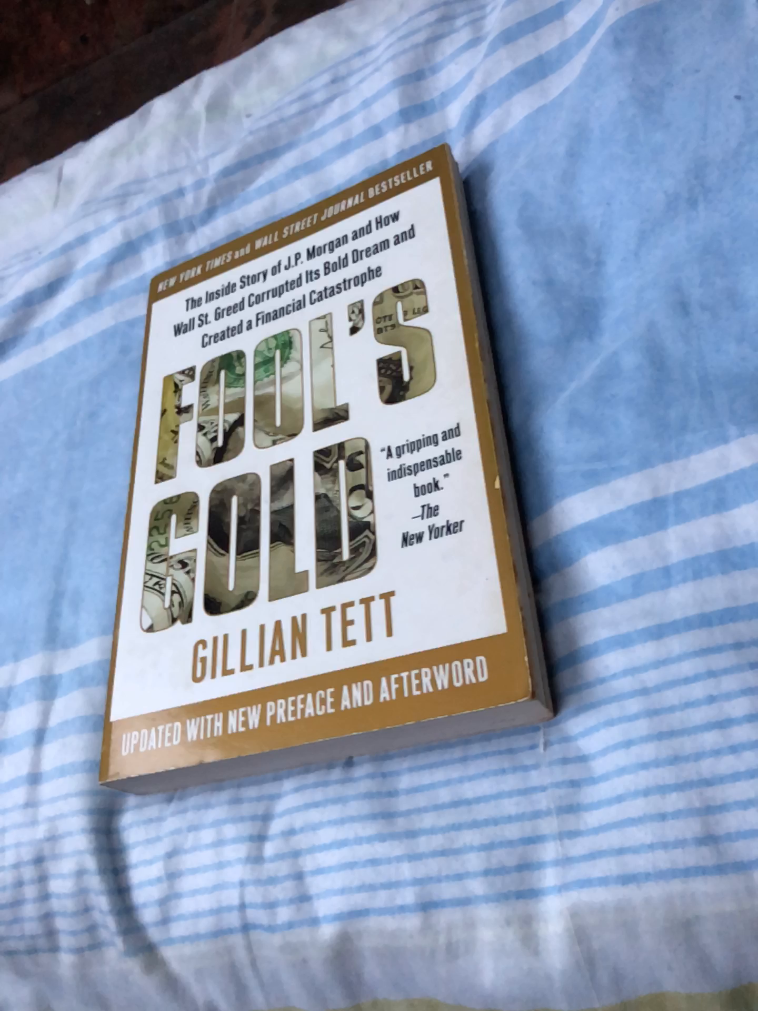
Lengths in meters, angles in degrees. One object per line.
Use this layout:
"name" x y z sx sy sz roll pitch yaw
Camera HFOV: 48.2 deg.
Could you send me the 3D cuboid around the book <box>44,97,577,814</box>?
"book" -0.029 -0.025 0.299 0.150 0.040 0.230 -18 55 22
